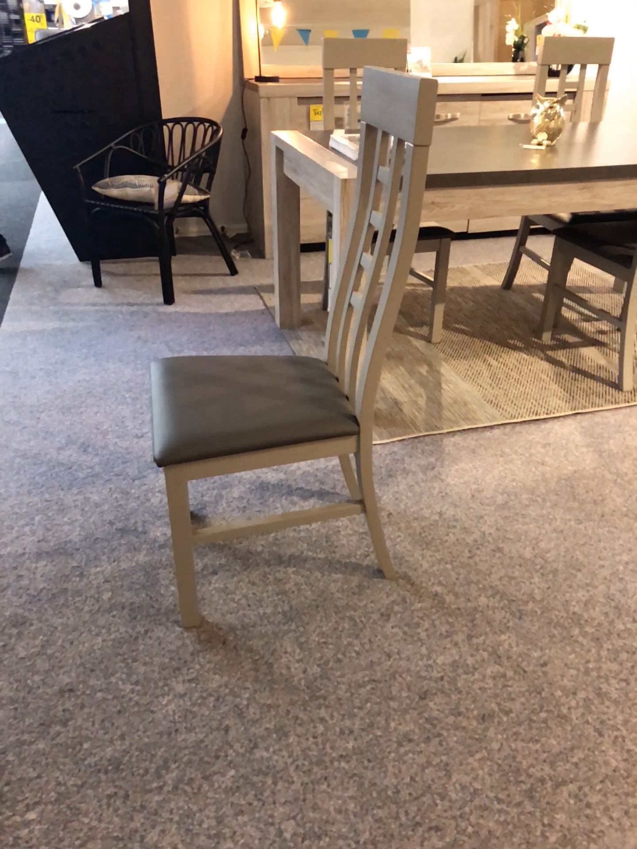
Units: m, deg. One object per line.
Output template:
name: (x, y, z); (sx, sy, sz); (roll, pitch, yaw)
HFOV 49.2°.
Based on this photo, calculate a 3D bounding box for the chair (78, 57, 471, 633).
chair: (-0.100, -0.173, 1.430); (0.551, 1.014, 0.512); (-6, 30, -10)
